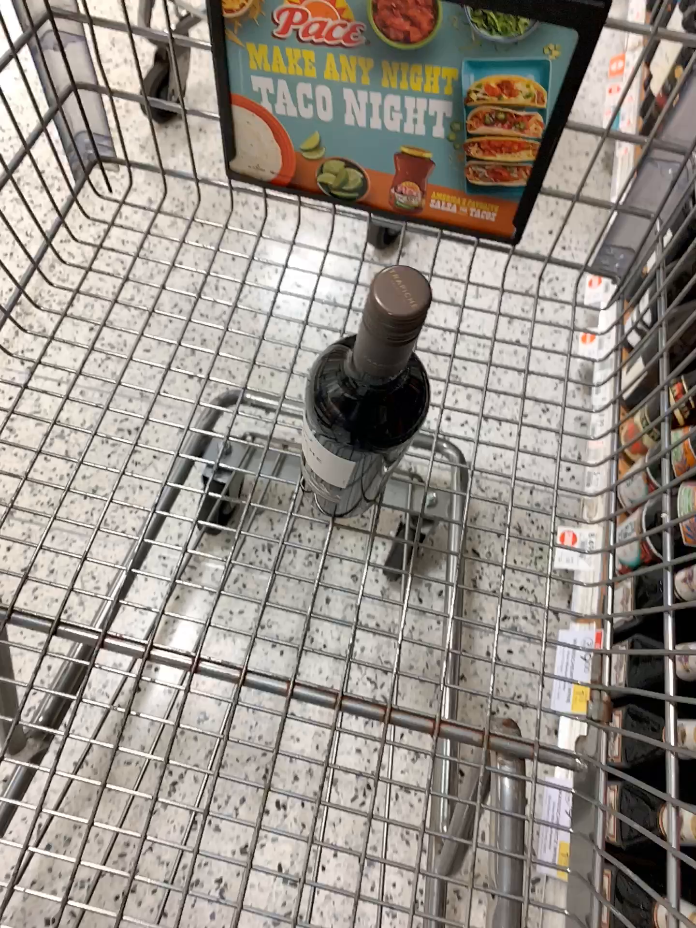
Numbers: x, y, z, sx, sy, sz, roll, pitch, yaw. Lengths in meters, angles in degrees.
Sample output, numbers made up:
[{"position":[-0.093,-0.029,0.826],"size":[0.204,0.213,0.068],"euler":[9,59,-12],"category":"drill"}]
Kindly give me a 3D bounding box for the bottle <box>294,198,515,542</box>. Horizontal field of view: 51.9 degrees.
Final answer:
[{"position":[0.015,-0.033,0.471],"size":[0.090,0.298,0.090],"euler":[1,70,-4],"category":"bottle"}]
